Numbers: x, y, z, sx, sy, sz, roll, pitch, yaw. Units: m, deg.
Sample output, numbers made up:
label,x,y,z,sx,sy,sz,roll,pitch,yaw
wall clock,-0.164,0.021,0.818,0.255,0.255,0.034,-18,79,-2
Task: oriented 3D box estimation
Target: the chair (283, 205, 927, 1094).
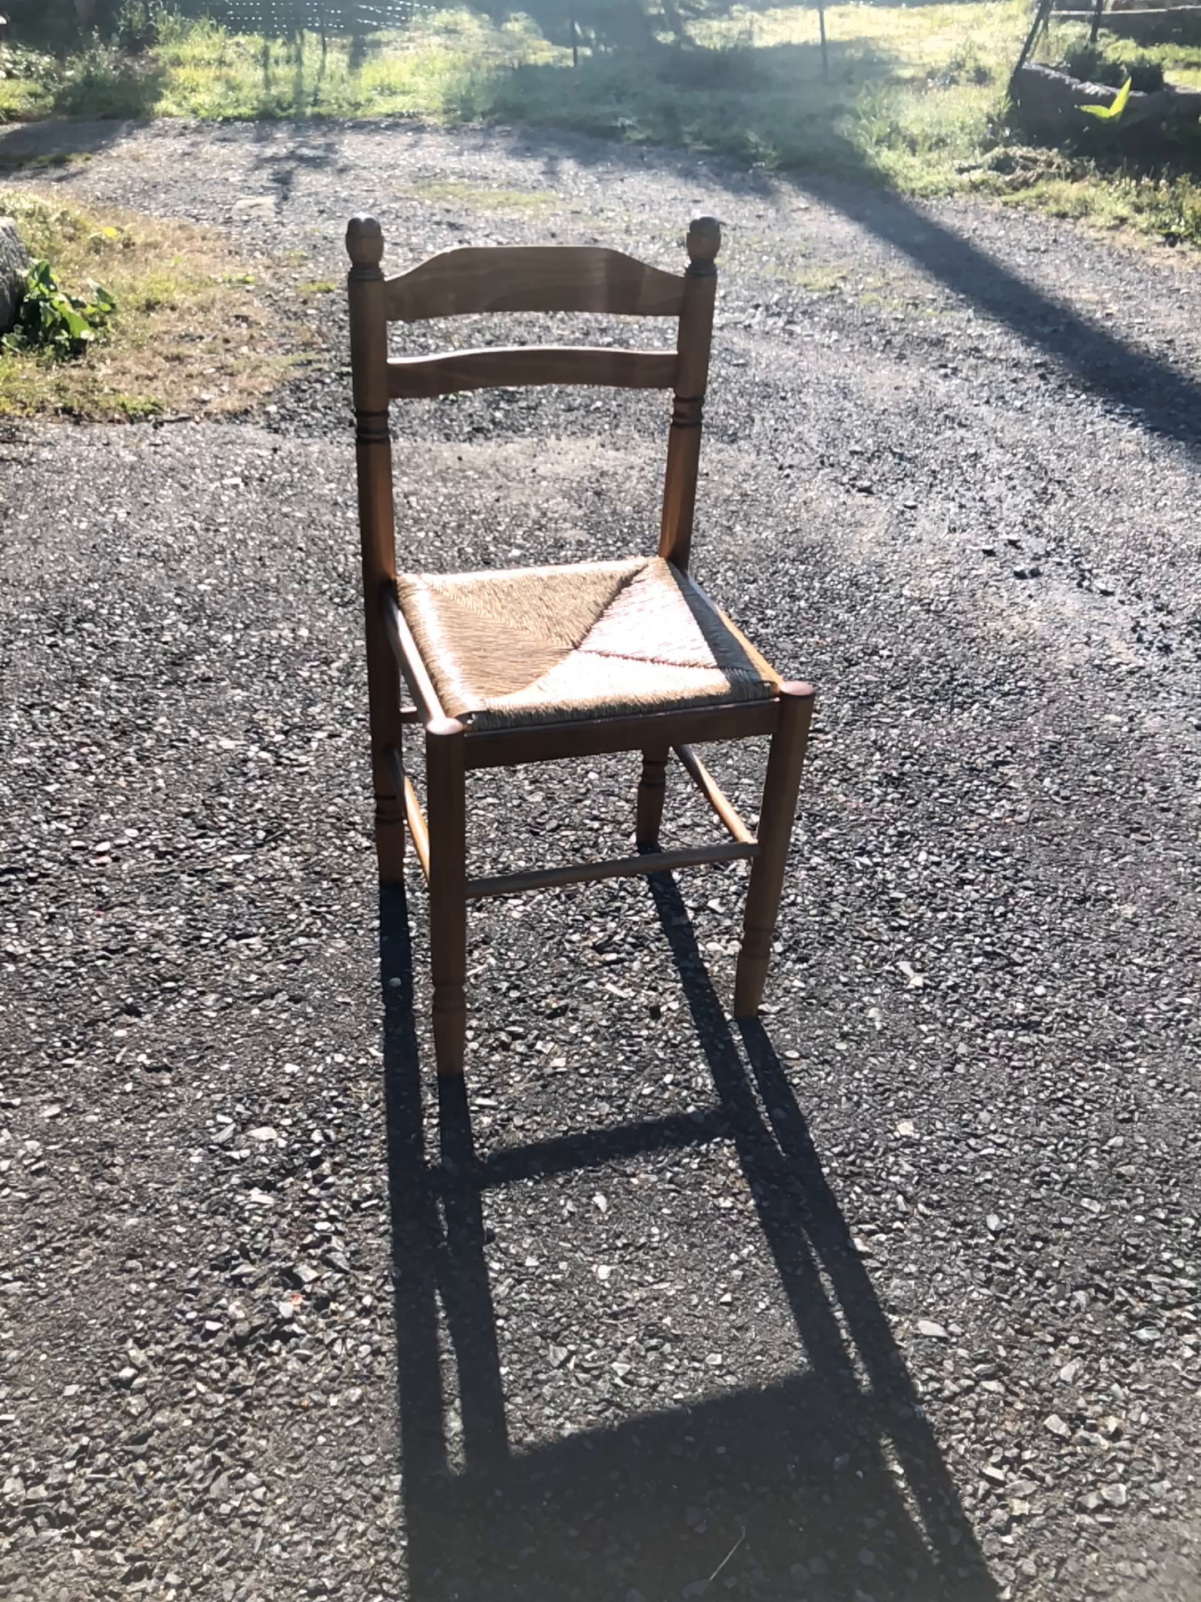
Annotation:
label,x,y,z,sx,sy,sz,roll,pitch,yaw
chair,-0.036,-0.188,1.450,0.491,0.795,0.492,-8,32,-15
